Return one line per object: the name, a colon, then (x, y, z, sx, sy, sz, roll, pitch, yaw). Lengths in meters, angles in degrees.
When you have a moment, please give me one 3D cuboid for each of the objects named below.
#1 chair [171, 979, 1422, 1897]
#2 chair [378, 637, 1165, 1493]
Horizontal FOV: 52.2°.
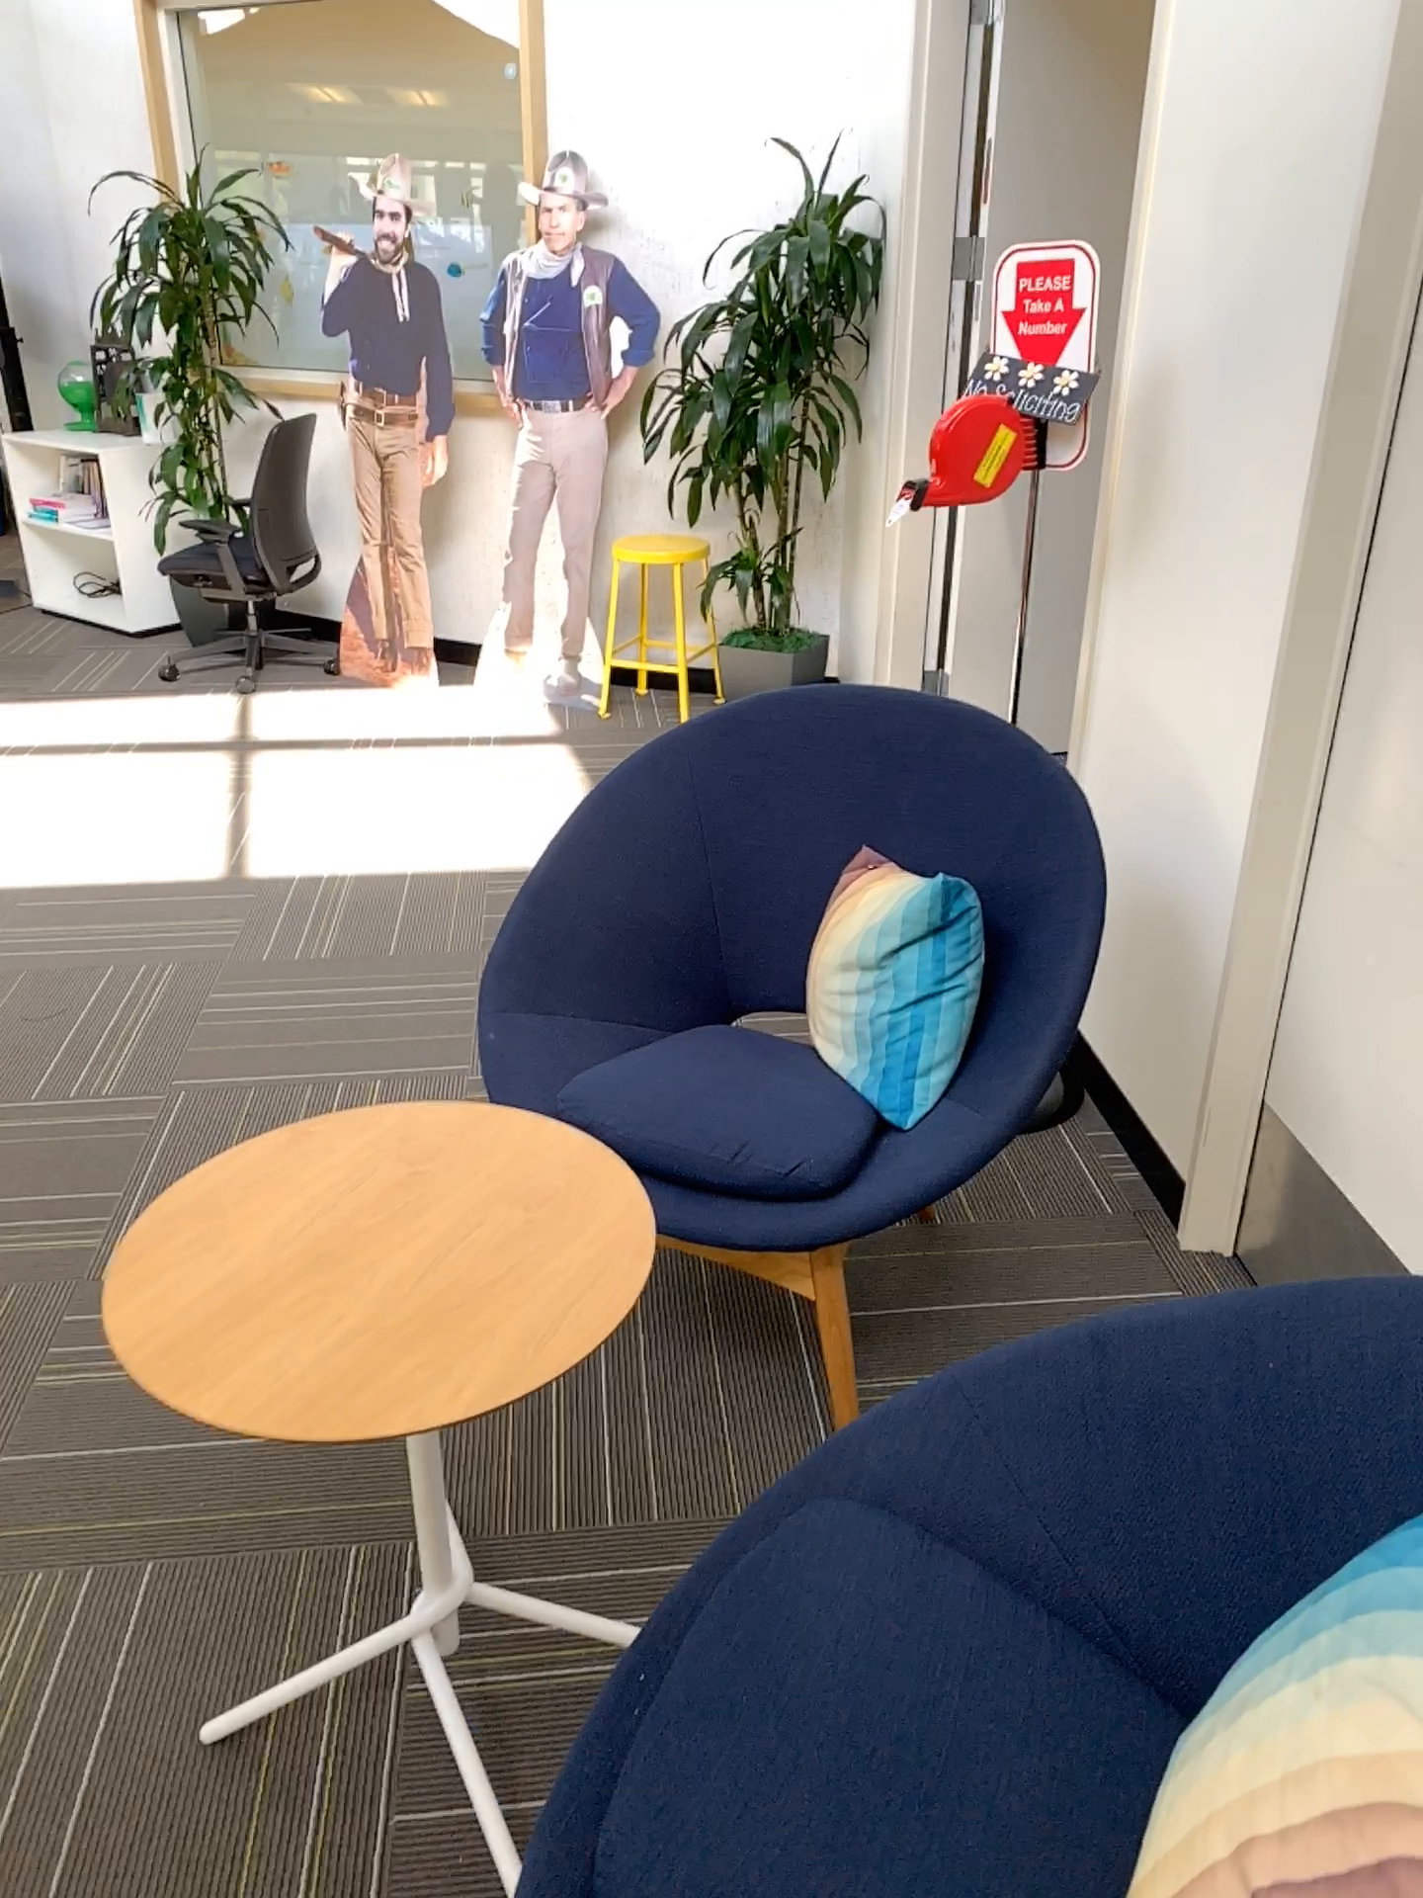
chair: (0.318, 0.732, 1.109, 0.983, 0.945, 0.832, 17, 31, 31)
chair: (0.117, 0.080, 2.219, 0.792, 0.835, 0.842, 16, 30, 29)
